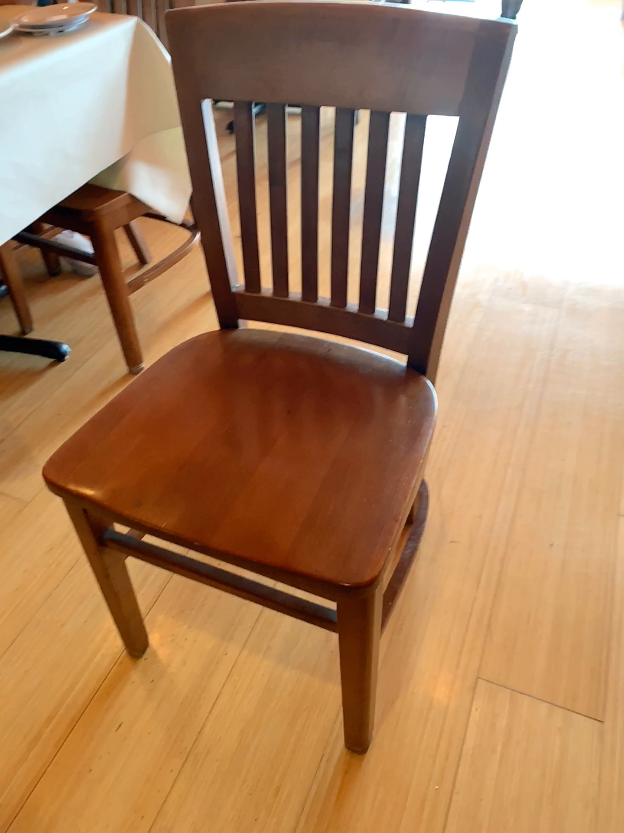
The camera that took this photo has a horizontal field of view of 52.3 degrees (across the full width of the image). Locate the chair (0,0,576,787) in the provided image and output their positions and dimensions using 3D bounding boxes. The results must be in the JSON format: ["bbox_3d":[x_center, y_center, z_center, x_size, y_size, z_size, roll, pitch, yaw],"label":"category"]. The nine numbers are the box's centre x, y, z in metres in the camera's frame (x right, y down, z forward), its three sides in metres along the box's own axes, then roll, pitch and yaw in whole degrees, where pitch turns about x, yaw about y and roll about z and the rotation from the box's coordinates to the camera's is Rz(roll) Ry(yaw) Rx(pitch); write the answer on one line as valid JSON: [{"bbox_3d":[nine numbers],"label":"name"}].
[{"bbox_3d":[-0.039,-0.038,0.901,0.541,0.875,0.572,14,44,18],"label":"chair"}]
